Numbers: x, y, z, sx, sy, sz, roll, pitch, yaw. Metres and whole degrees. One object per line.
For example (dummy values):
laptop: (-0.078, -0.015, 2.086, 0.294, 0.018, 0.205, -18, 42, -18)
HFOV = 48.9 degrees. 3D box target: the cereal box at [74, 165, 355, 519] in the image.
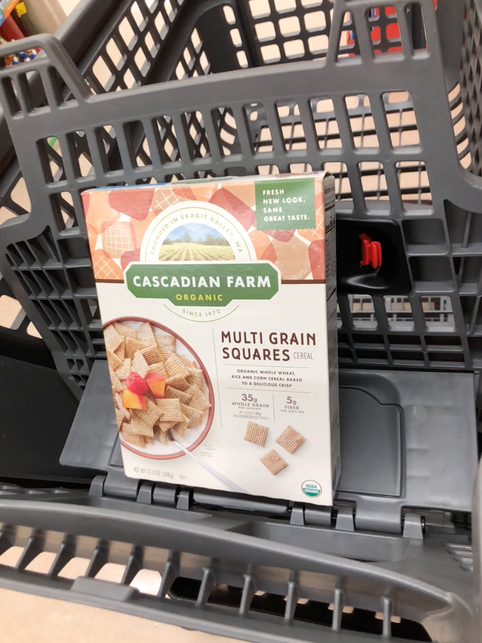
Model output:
cereal box: (-0.014, 0.015, 0.432, 0.200, 0.260, 0.060, 2, 18, 21)
